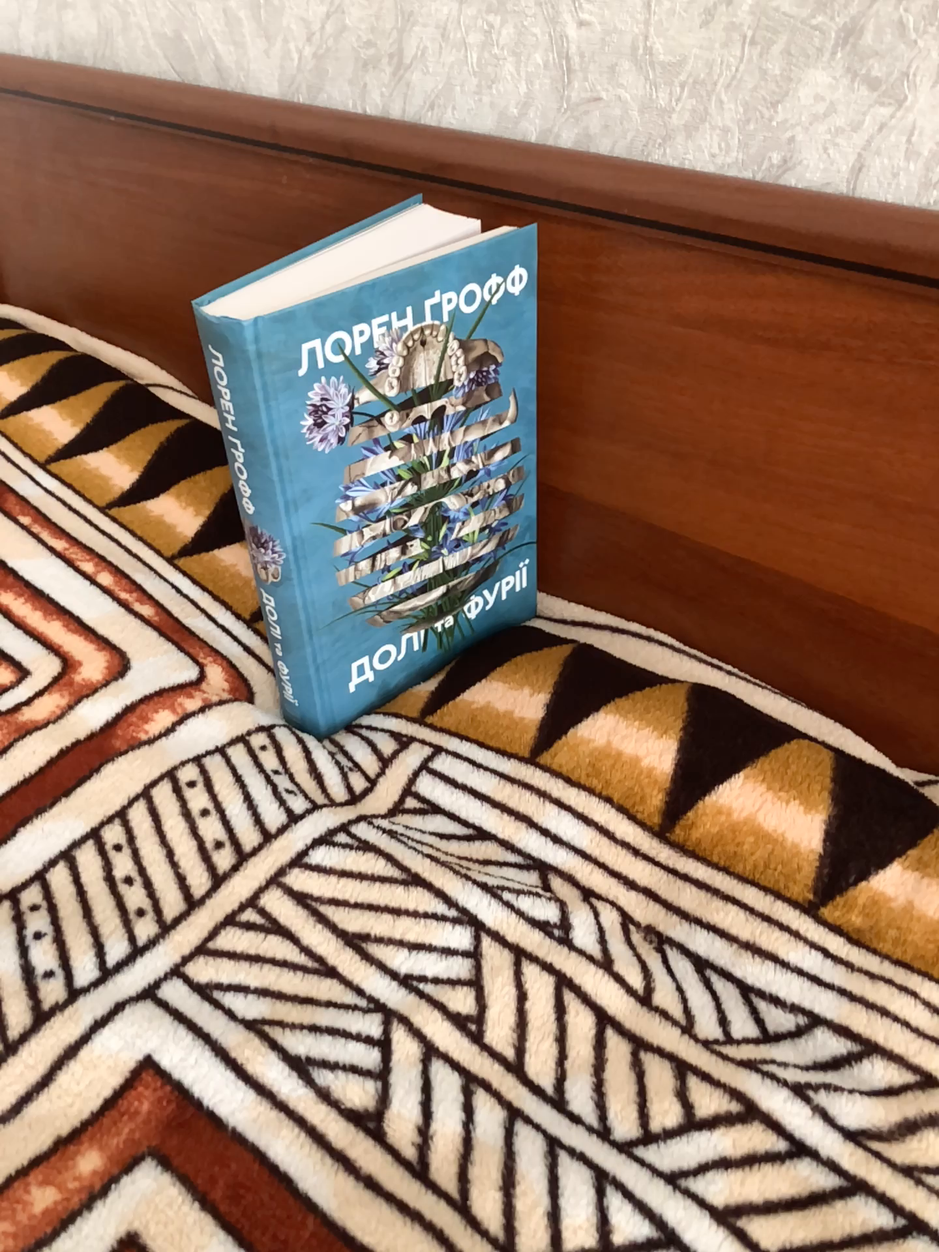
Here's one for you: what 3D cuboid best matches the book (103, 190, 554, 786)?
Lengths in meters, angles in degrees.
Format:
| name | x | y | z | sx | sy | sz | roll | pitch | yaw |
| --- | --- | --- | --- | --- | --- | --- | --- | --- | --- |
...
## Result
| name | x | y | z | sx | sy | sz | roll | pitch | yaw |
| --- | --- | --- | --- | --- | --- | --- | --- | --- | --- |
| book | -0.047 | -0.062 | 0.456 | 0.078 | 0.199 | 0.161 | 29 | 48 | 31 |
